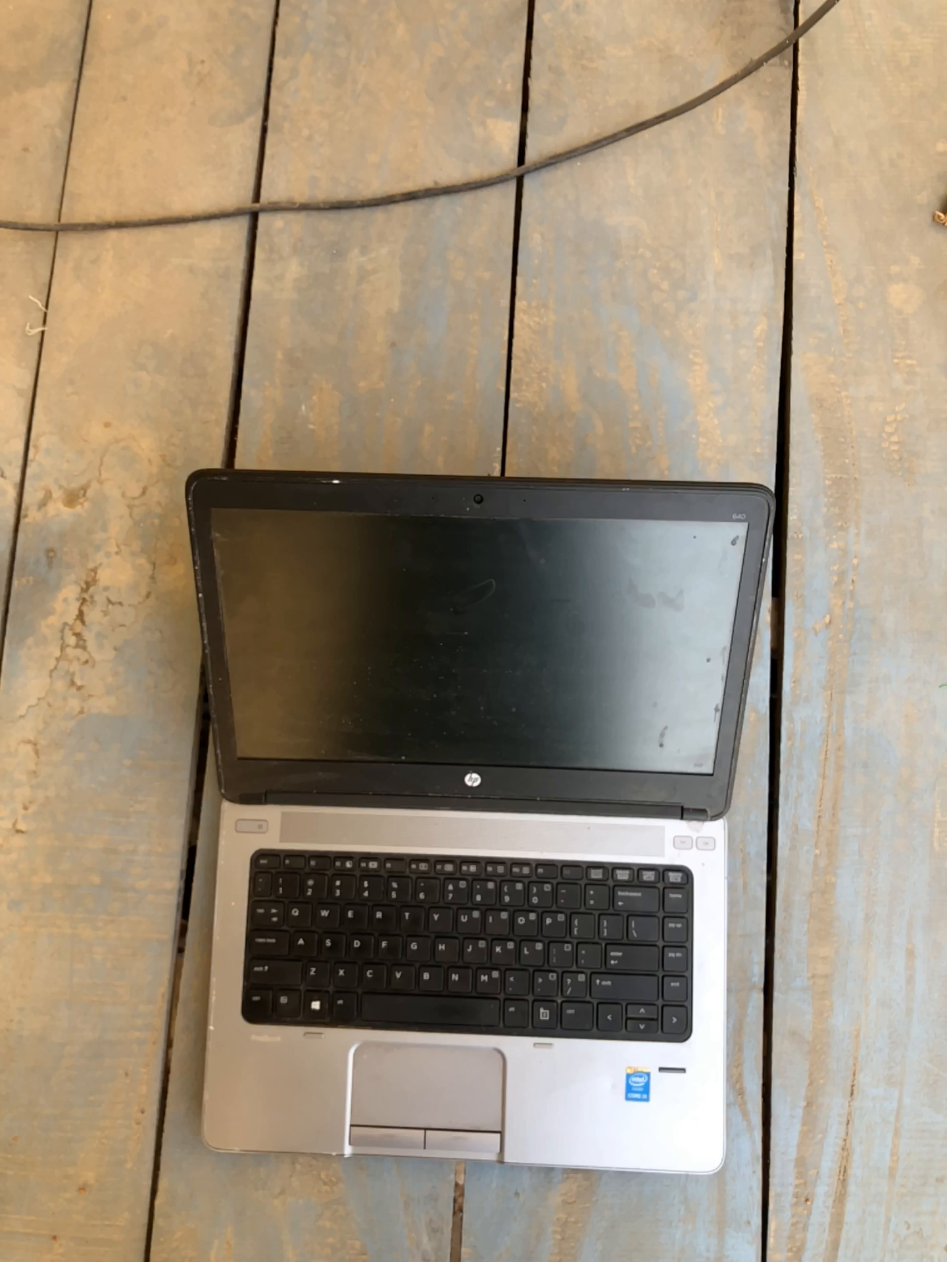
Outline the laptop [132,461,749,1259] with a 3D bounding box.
[{"bbox_3d":[-0.011,0.118,0.598,0.306,0.123,0.388,2,85,3],"label":"laptop"}]
